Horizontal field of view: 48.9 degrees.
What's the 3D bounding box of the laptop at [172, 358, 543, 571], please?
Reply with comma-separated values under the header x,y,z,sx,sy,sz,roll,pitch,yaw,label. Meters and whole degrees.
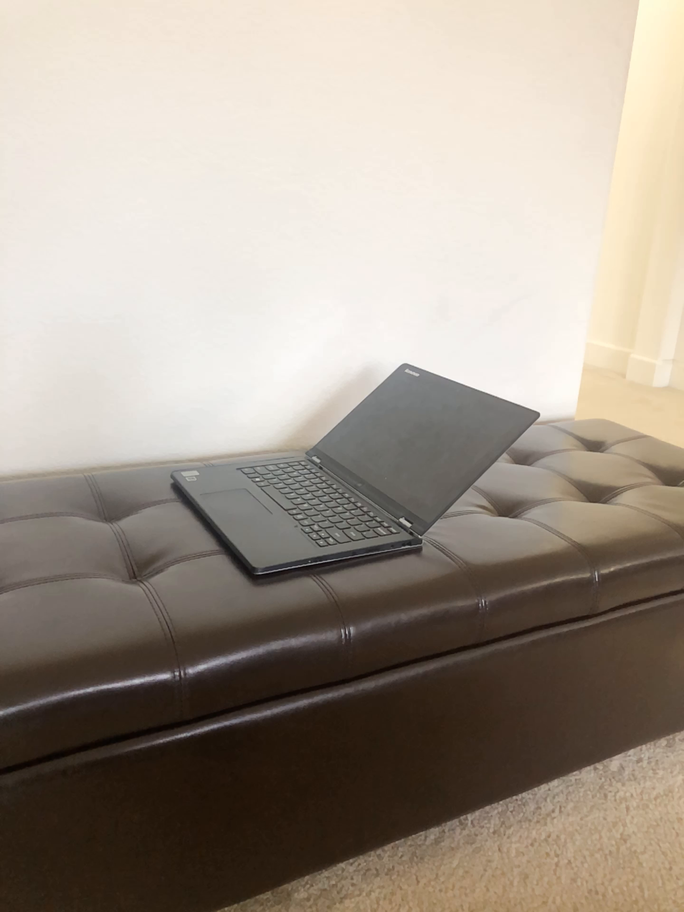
x,y,z,sx,sy,sz,roll,pitch,yaw,label
0.005,-0.014,0.837,0.317,0.115,0.262,-8,22,-28,laptop
